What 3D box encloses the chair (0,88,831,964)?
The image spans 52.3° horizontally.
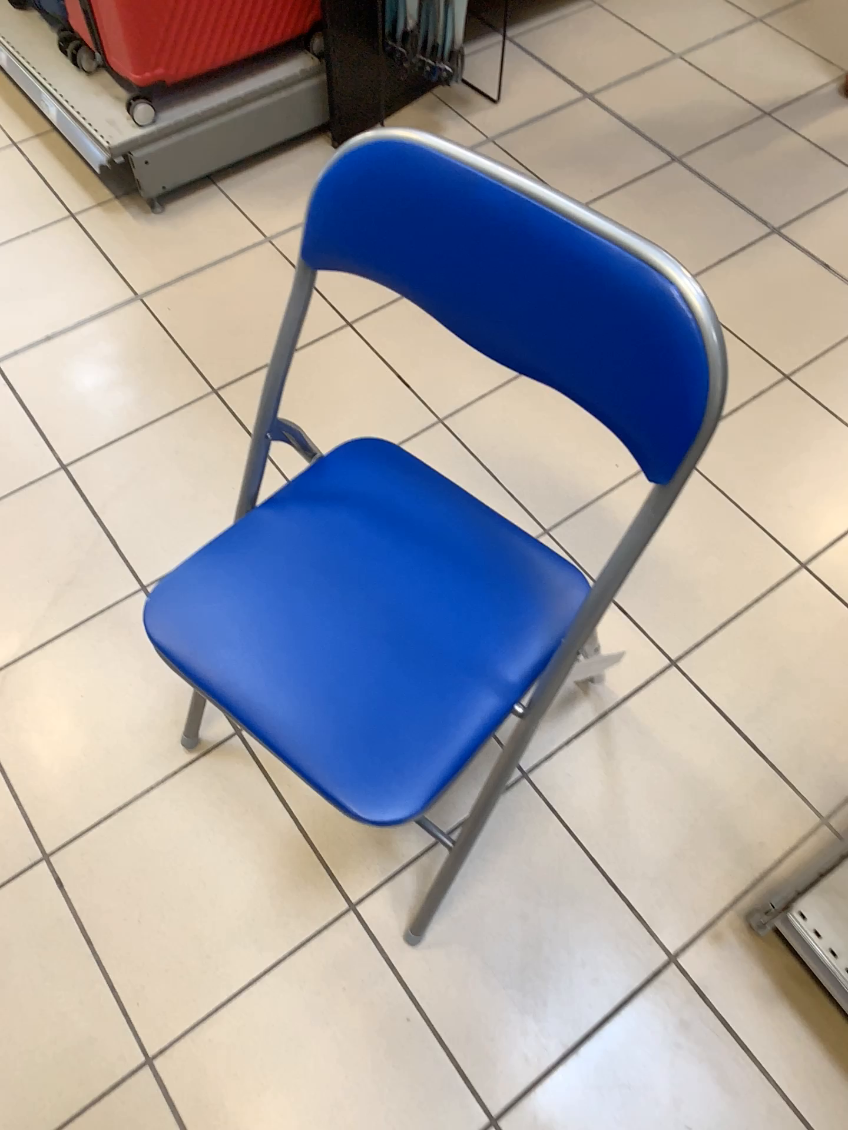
[{"bbox_3d":[-0.030,0.011,0.943,0.479,0.664,0.525,35,65,18],"label":"chair"}]
